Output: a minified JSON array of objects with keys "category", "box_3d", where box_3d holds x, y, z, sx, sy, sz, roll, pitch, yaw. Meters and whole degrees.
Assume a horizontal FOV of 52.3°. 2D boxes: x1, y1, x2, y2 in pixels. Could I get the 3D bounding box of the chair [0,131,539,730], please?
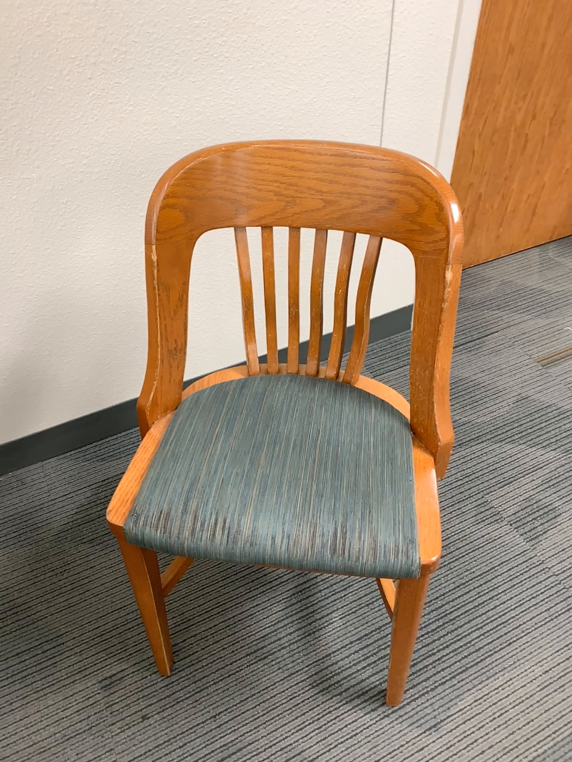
[{"category":"chair","box_3d":[-0.013,0.082,0.986,0.550,0.747,0.623,5,43,7]}]
